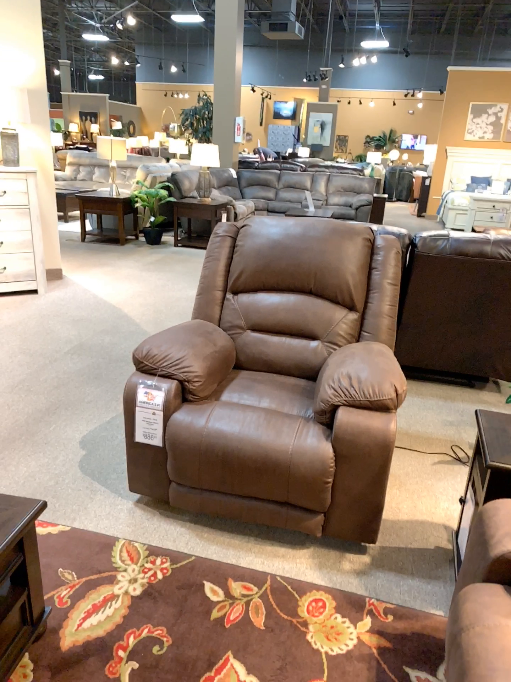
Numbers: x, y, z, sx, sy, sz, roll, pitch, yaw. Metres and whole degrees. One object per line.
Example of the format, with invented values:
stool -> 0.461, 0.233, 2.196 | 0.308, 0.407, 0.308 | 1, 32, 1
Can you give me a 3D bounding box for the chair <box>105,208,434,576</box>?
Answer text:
chair -> 0.124, 0.062, 2.183 | 1.001, 1.028, 1.069 | 9, 21, 14
